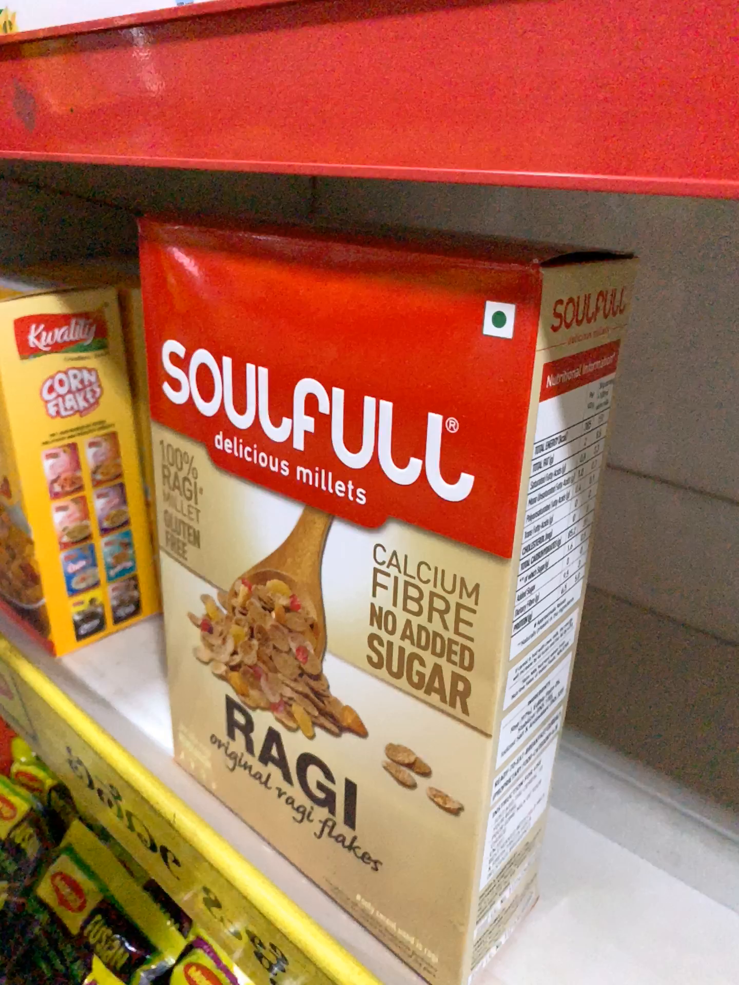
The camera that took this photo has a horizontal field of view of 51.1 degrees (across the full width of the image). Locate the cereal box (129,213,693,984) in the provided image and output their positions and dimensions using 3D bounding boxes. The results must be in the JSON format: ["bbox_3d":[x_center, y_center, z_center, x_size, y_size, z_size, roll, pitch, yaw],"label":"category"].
[{"bbox_3d":[-0.004,0.037,0.278,0.171,0.248,0.060,20,28,37],"label":"cereal box"}]
